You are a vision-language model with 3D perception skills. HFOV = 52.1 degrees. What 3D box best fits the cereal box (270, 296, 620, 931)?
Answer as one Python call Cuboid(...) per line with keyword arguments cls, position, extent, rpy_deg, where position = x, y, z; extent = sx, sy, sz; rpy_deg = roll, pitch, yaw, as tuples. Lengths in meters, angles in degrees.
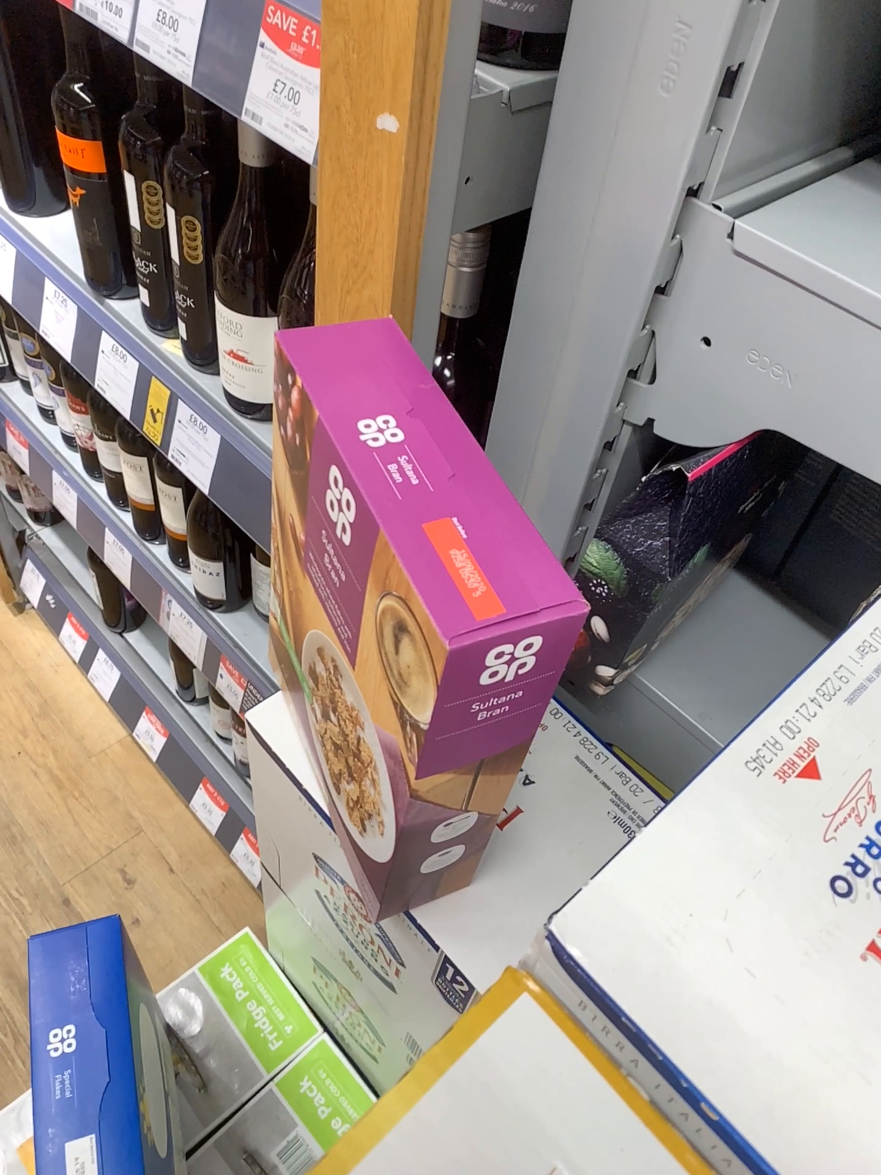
Cuboid(cls="cereal box", position=(-0.023, 0.023, 0.466), extent=(0.070, 0.258, 0.201), rpy_deg=(-14, 53, -20))
